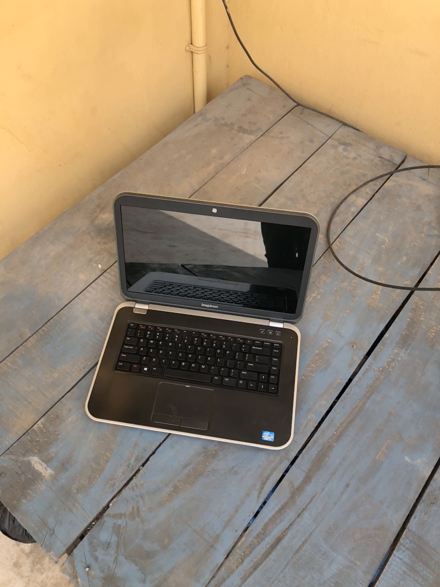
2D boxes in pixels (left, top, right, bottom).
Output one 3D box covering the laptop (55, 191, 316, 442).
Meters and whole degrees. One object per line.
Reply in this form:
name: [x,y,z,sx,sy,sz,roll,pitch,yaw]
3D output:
laptop: [-0.035,0.034,0.844,0.352,0.209,0.334,7,57,6]
